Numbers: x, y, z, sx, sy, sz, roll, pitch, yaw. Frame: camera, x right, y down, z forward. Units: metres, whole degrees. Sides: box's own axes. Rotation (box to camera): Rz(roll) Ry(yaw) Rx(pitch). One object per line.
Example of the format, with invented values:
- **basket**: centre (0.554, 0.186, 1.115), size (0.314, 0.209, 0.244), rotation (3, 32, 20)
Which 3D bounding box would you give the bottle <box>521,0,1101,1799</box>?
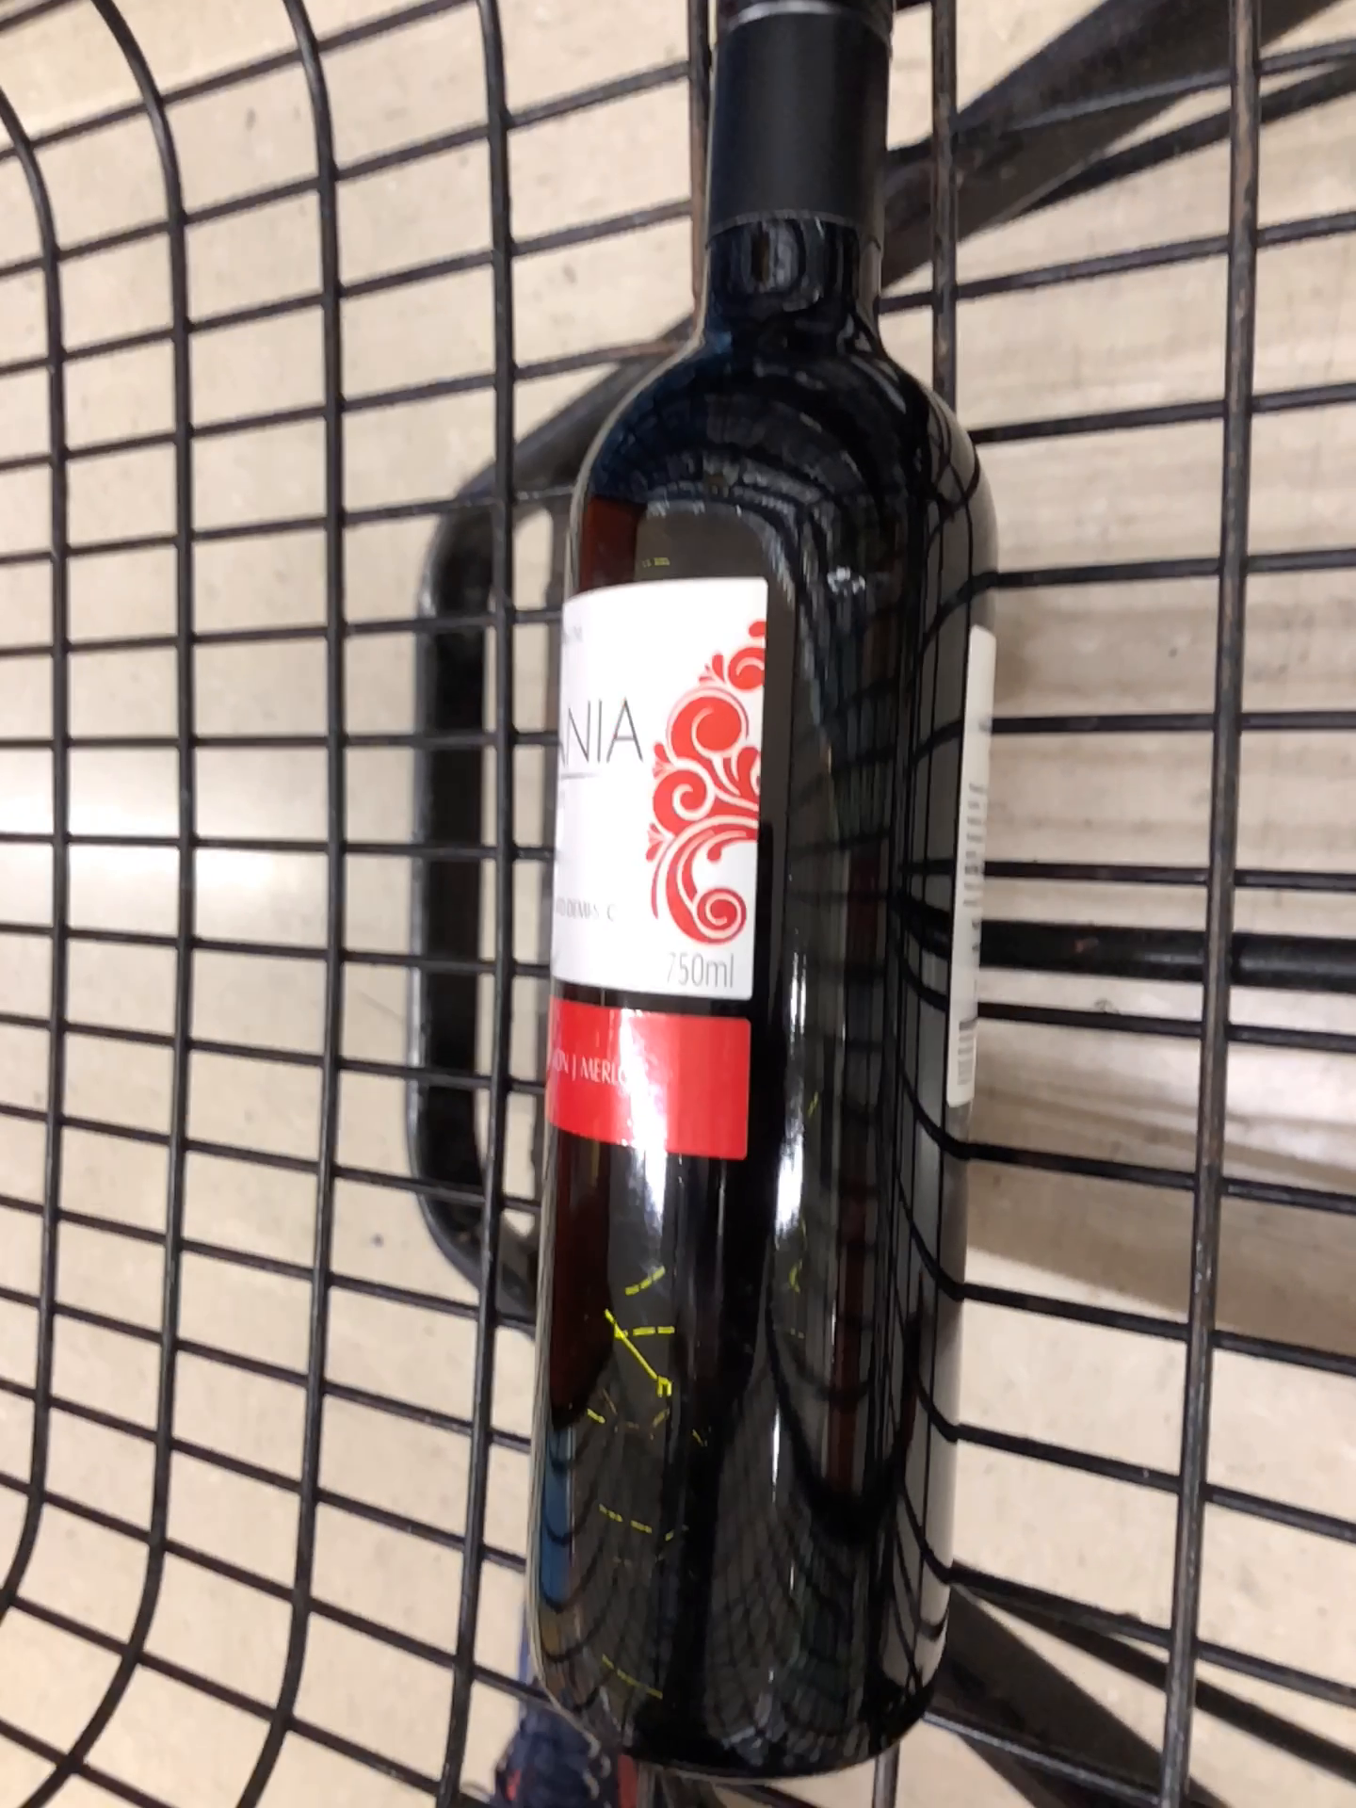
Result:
- **bottle**: centre (0.015, -0.025, 0.254), size (0.080, 0.070, 0.300), rotation (-172, 83, -78)
